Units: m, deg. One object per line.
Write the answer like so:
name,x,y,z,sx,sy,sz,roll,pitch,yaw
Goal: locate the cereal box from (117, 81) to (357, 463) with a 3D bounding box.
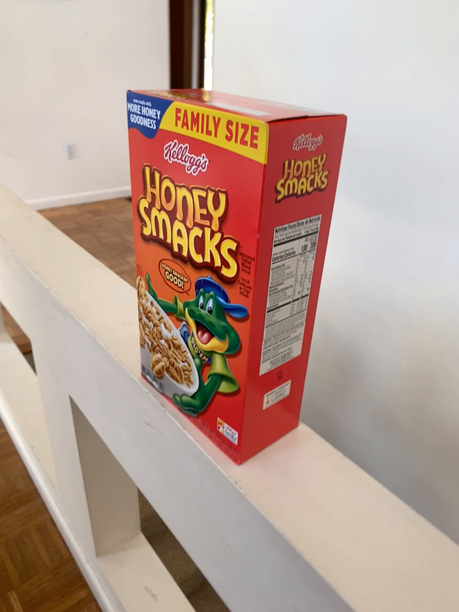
cereal box,-0.013,-0.043,0.504,0.100,0.338,0.211,-20,37,-36
